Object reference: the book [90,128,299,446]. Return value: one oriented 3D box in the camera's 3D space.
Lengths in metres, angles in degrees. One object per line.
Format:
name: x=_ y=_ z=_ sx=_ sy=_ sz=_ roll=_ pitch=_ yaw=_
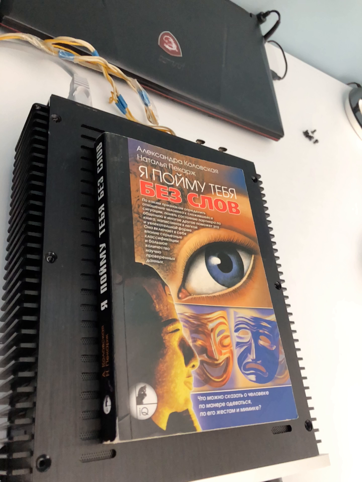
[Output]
book: x=0.005 y=0.023 z=0.260 sx=0.123 sy=0.023 sz=0.183 roll=10 pitch=61 yaw=-31
